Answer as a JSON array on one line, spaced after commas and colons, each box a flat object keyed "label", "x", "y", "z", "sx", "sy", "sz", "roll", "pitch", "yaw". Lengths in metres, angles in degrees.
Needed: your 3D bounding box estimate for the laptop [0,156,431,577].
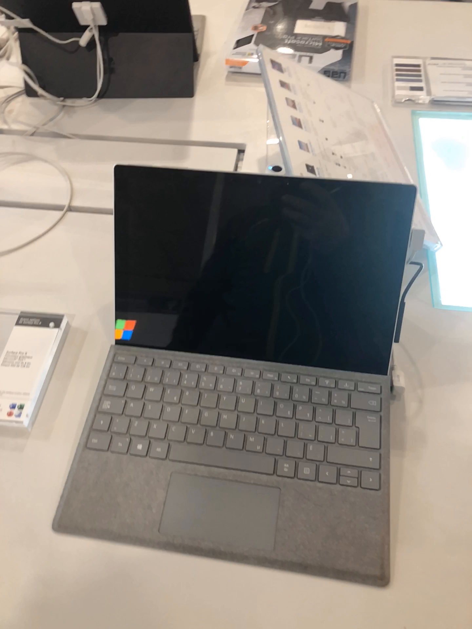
[{"label": "laptop", "x": 0.002, "y": 0.031, "z": 0.457, "sx": 0.279, "sy": 0.147, "sz": 0.298, "roll": 6, "pitch": 57, "yaw": 7}]
